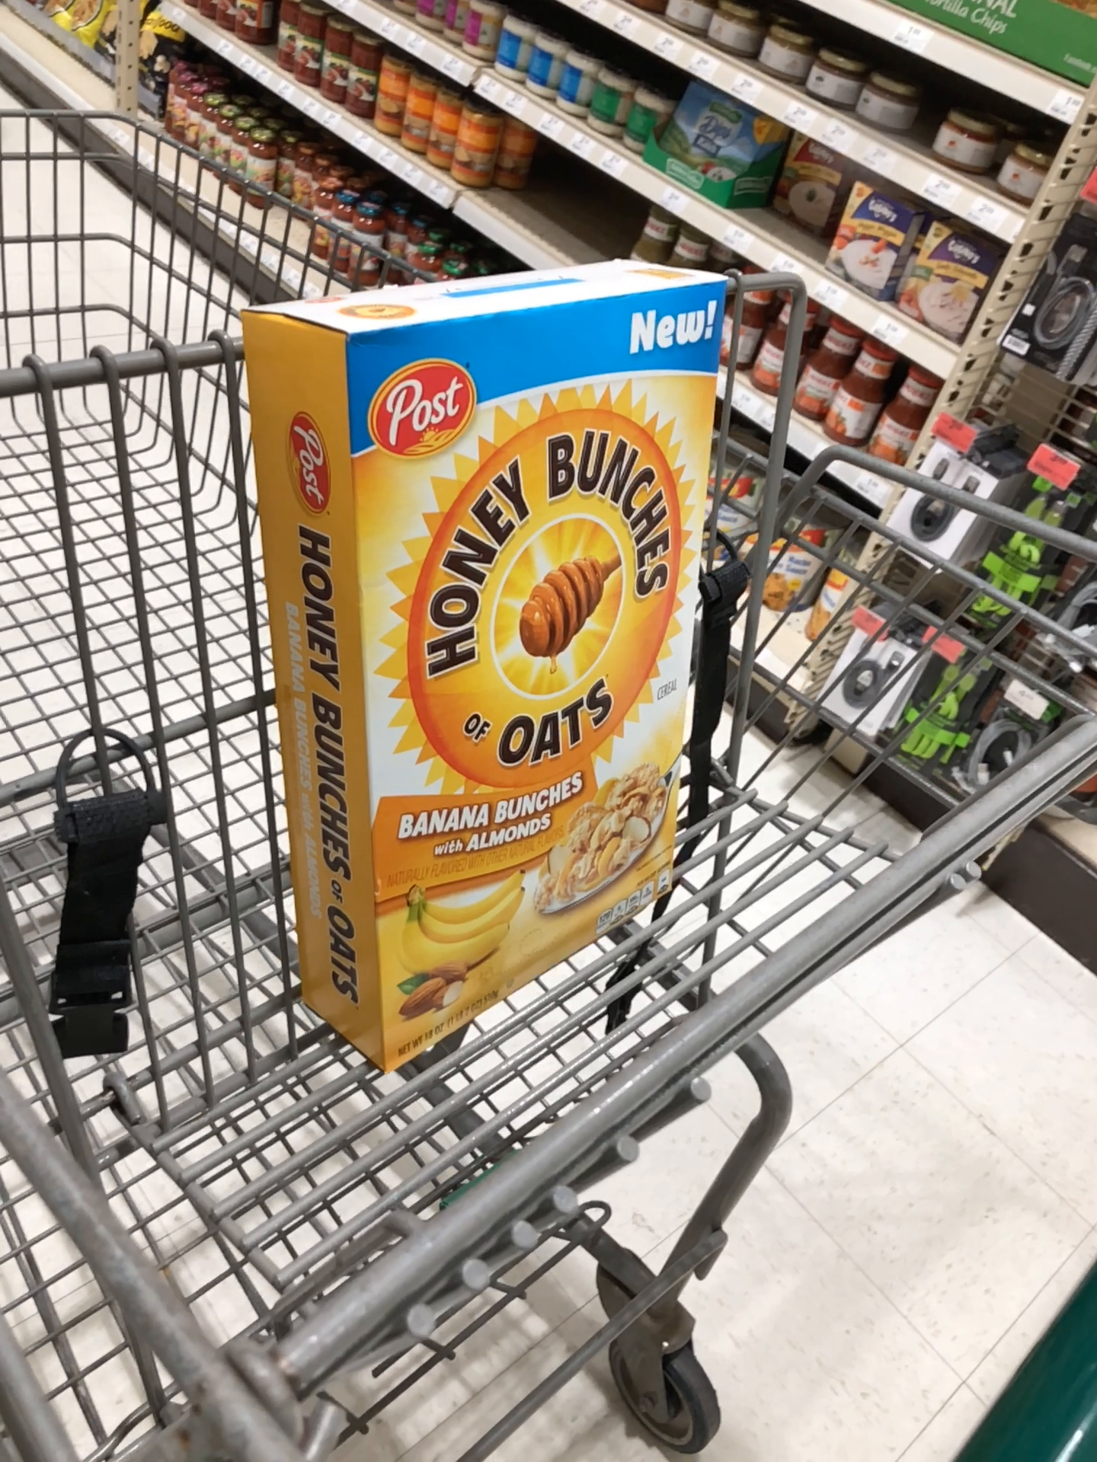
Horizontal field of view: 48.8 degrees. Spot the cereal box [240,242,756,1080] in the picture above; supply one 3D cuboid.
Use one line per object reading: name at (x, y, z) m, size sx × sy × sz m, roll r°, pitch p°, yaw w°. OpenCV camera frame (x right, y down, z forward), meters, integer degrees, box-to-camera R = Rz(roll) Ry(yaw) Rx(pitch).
cereal box at (-0.013, -0.034, 0.502) m, size 0.060 × 0.299 × 0.201 m, roll 25°, pitch 35°, yaw 36°
